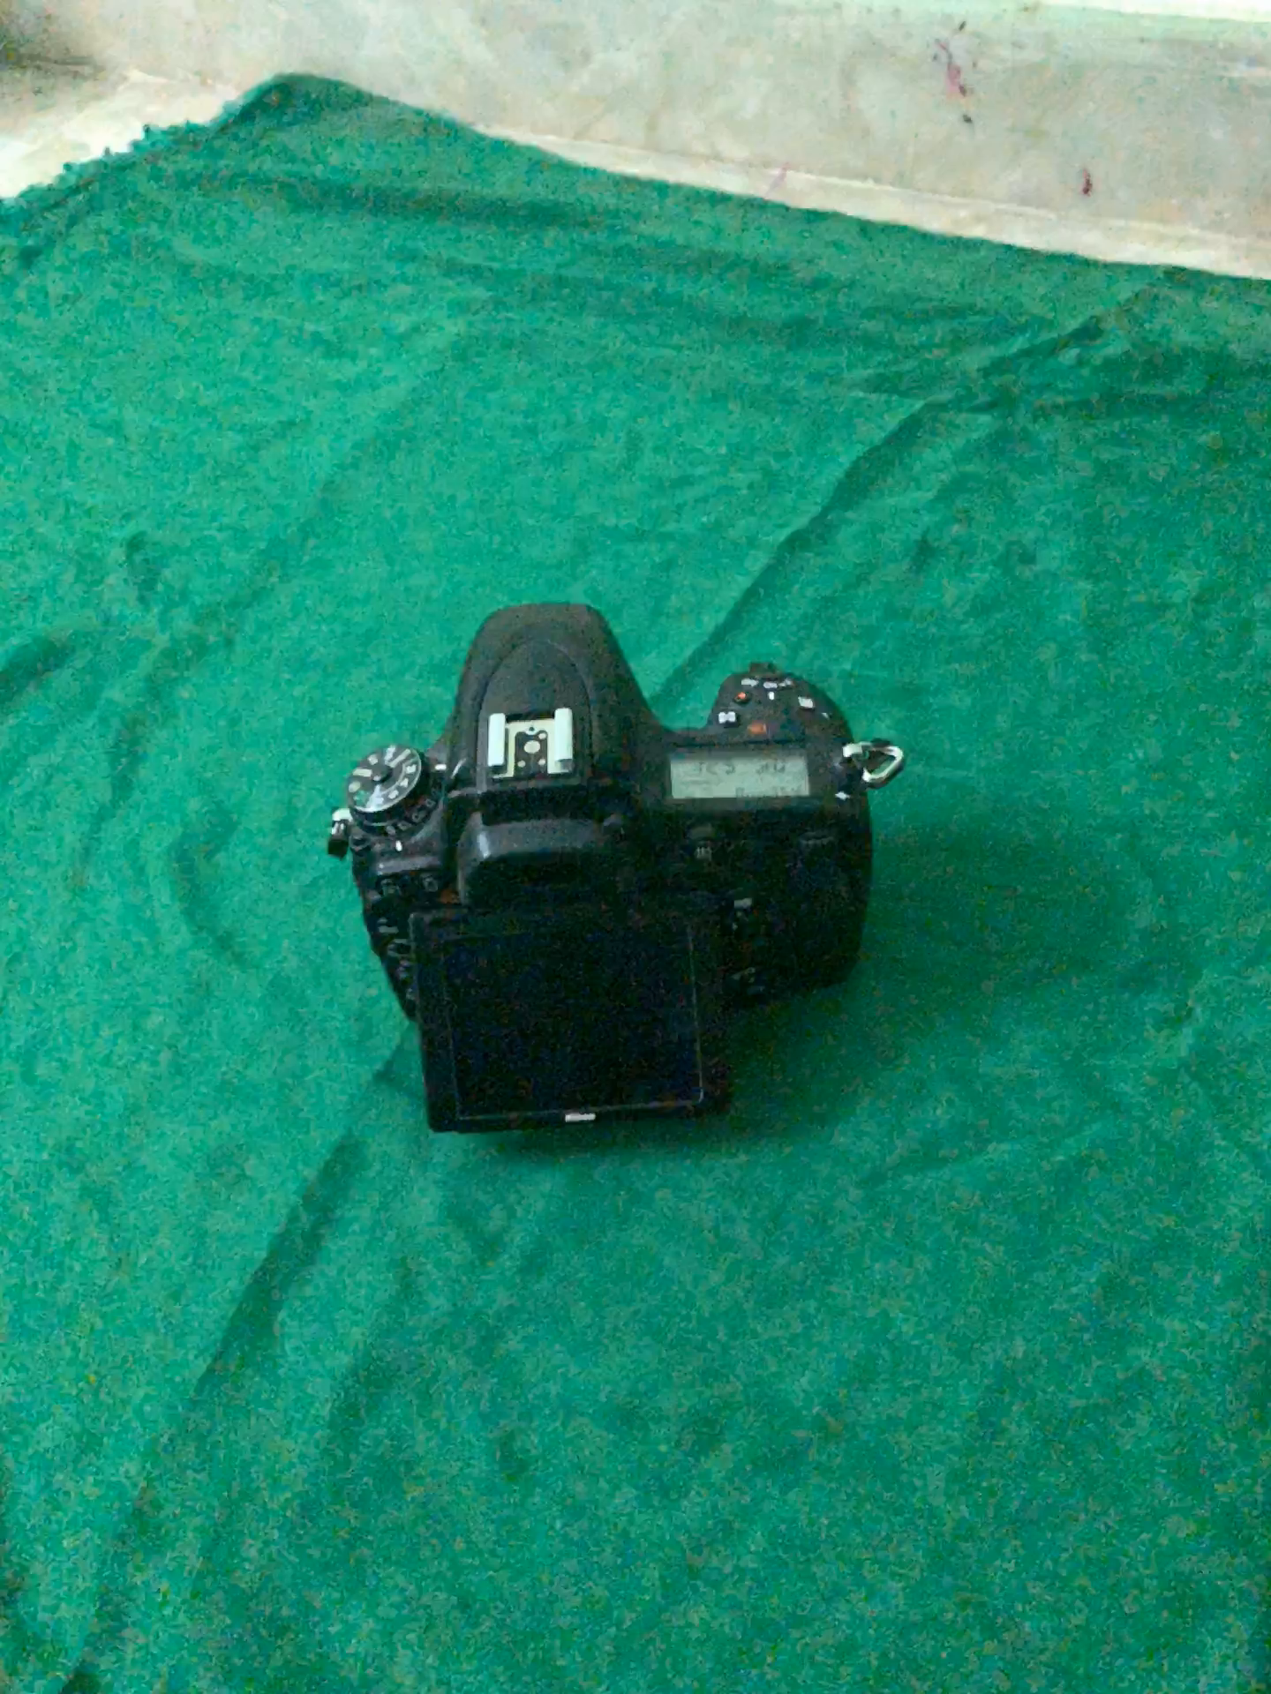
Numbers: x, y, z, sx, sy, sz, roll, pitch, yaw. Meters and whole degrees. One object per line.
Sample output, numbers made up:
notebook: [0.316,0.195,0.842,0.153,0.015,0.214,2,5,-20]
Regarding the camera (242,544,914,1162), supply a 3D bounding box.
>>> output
camera: [-0.006,0.003,0.352,0.142,0.100,0.129,-1,52,6]
